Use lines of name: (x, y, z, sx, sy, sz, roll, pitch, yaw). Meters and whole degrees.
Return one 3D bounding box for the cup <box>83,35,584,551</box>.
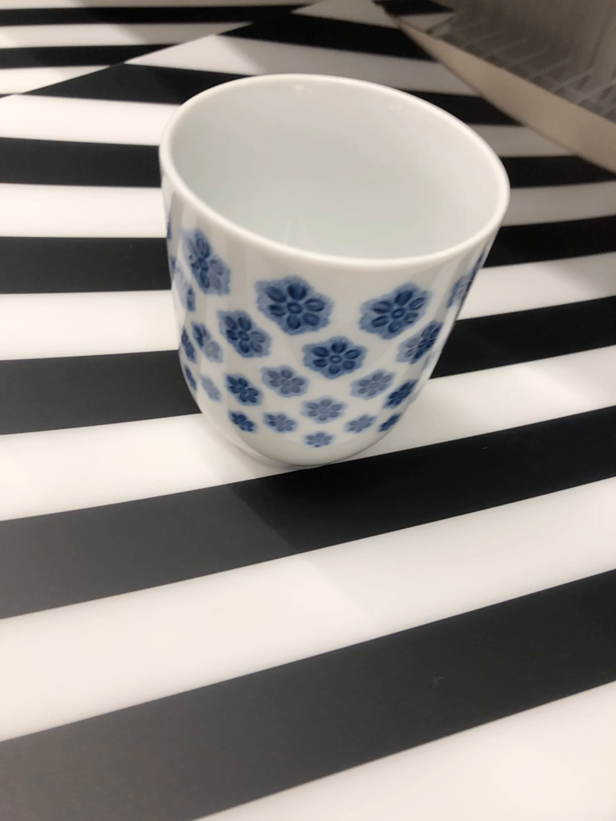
cup: (0.003, -0.032, 0.174, 0.070, 0.080, 0.080, 39, 54, 23)
